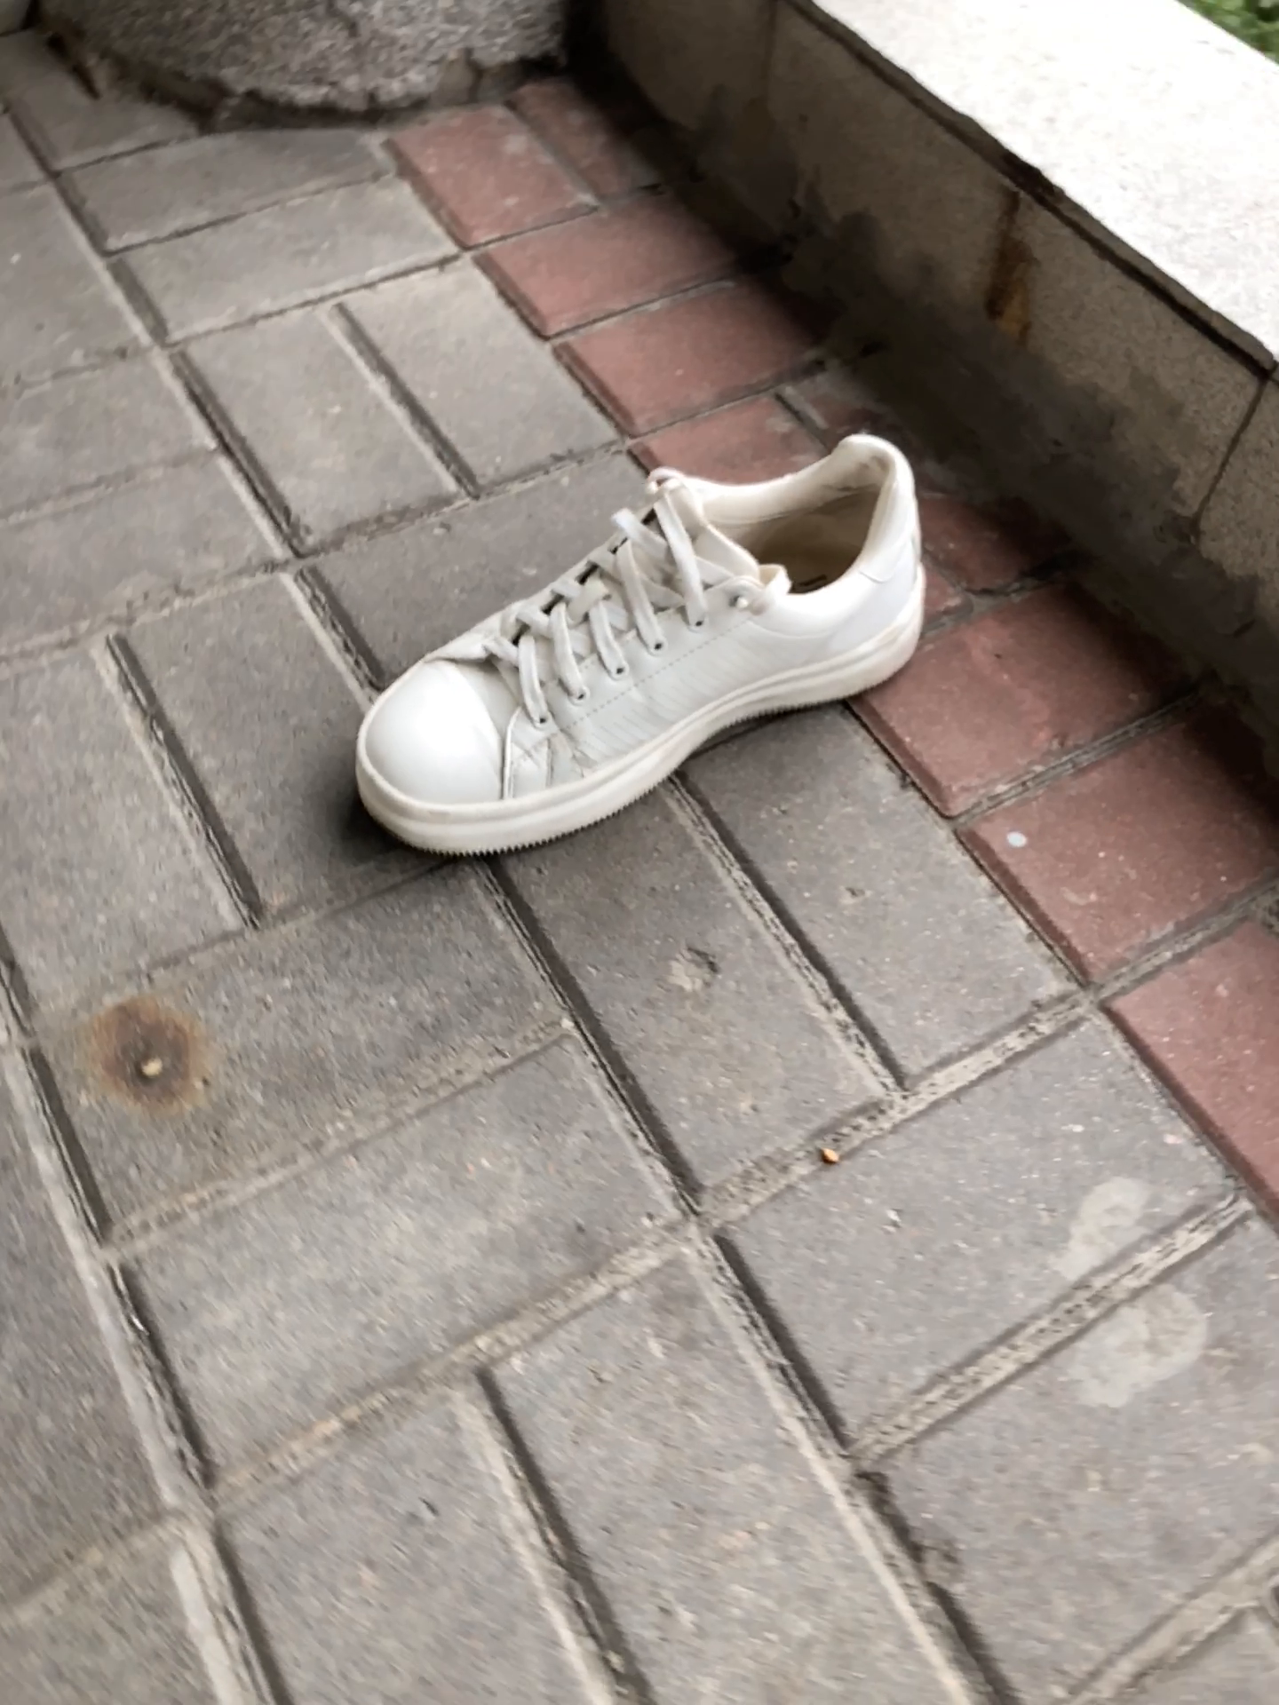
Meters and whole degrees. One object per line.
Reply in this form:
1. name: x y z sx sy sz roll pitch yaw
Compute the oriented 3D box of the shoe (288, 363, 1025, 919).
1. shoe: 0.009 -0.100 0.635 0.292 0.119 0.110 -24 62 -20
